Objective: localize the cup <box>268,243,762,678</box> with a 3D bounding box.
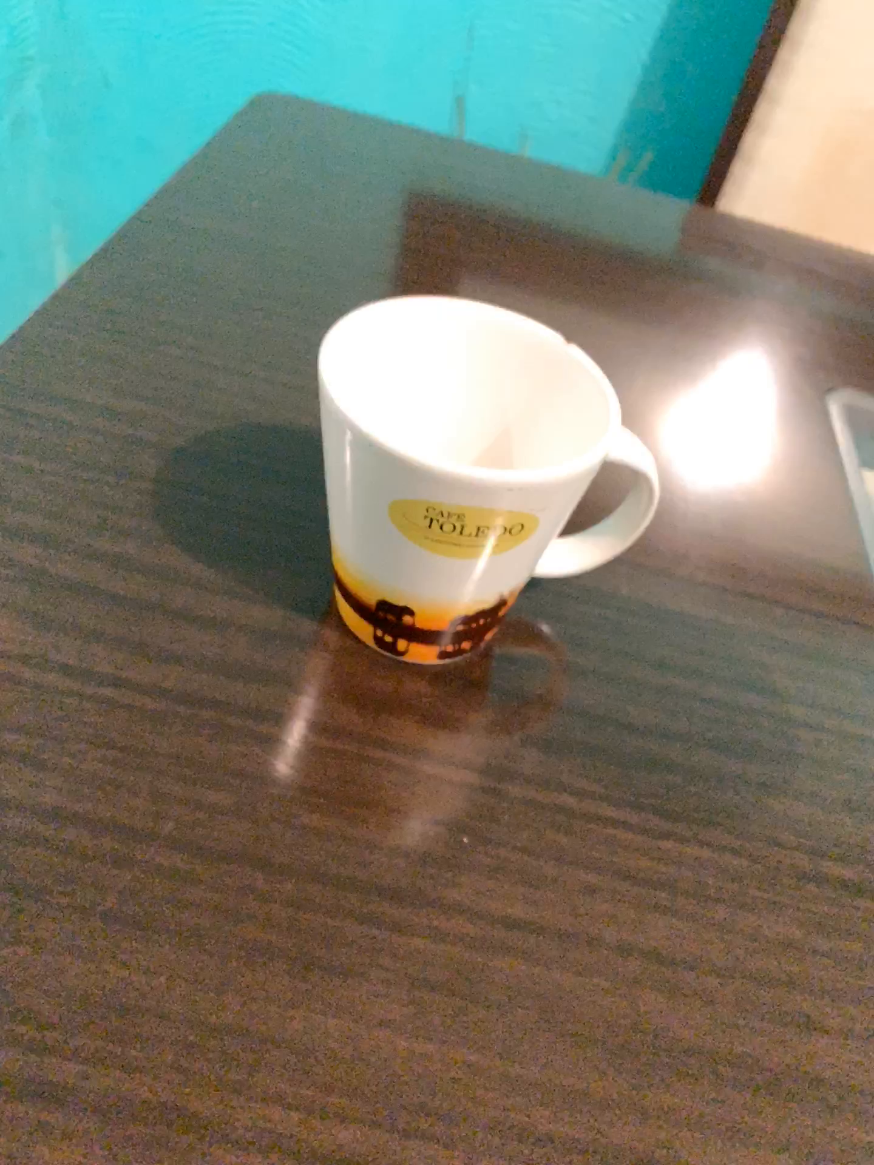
[{"bbox_3d":[0.011,-0.033,0.265,0.110,0.080,0.090,2,46,-14],"label":"cup"}]
